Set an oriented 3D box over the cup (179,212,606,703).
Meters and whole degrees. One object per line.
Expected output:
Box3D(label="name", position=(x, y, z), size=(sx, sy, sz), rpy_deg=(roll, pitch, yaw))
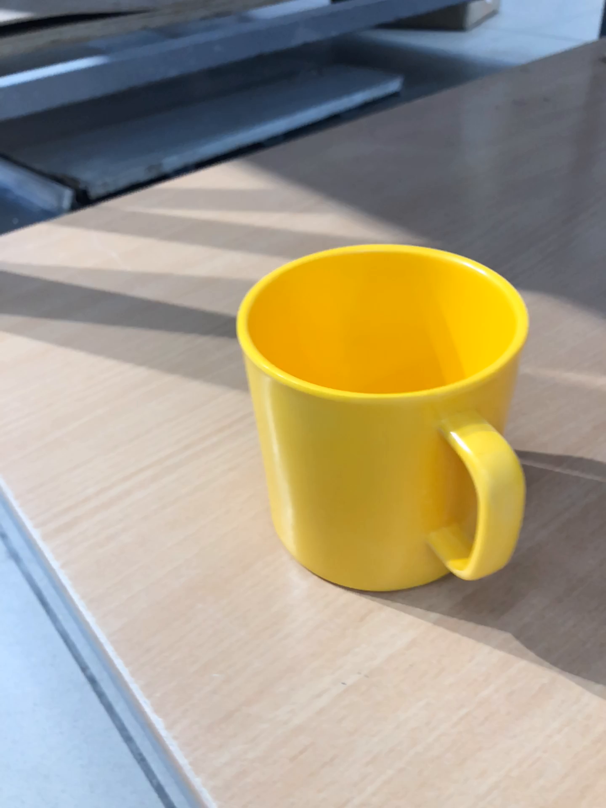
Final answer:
Box3D(label="cup", position=(0.024, 0.008, 0.221), size=(0.080, 0.089, 0.110), rpy_deg=(-20, 41, -19))
